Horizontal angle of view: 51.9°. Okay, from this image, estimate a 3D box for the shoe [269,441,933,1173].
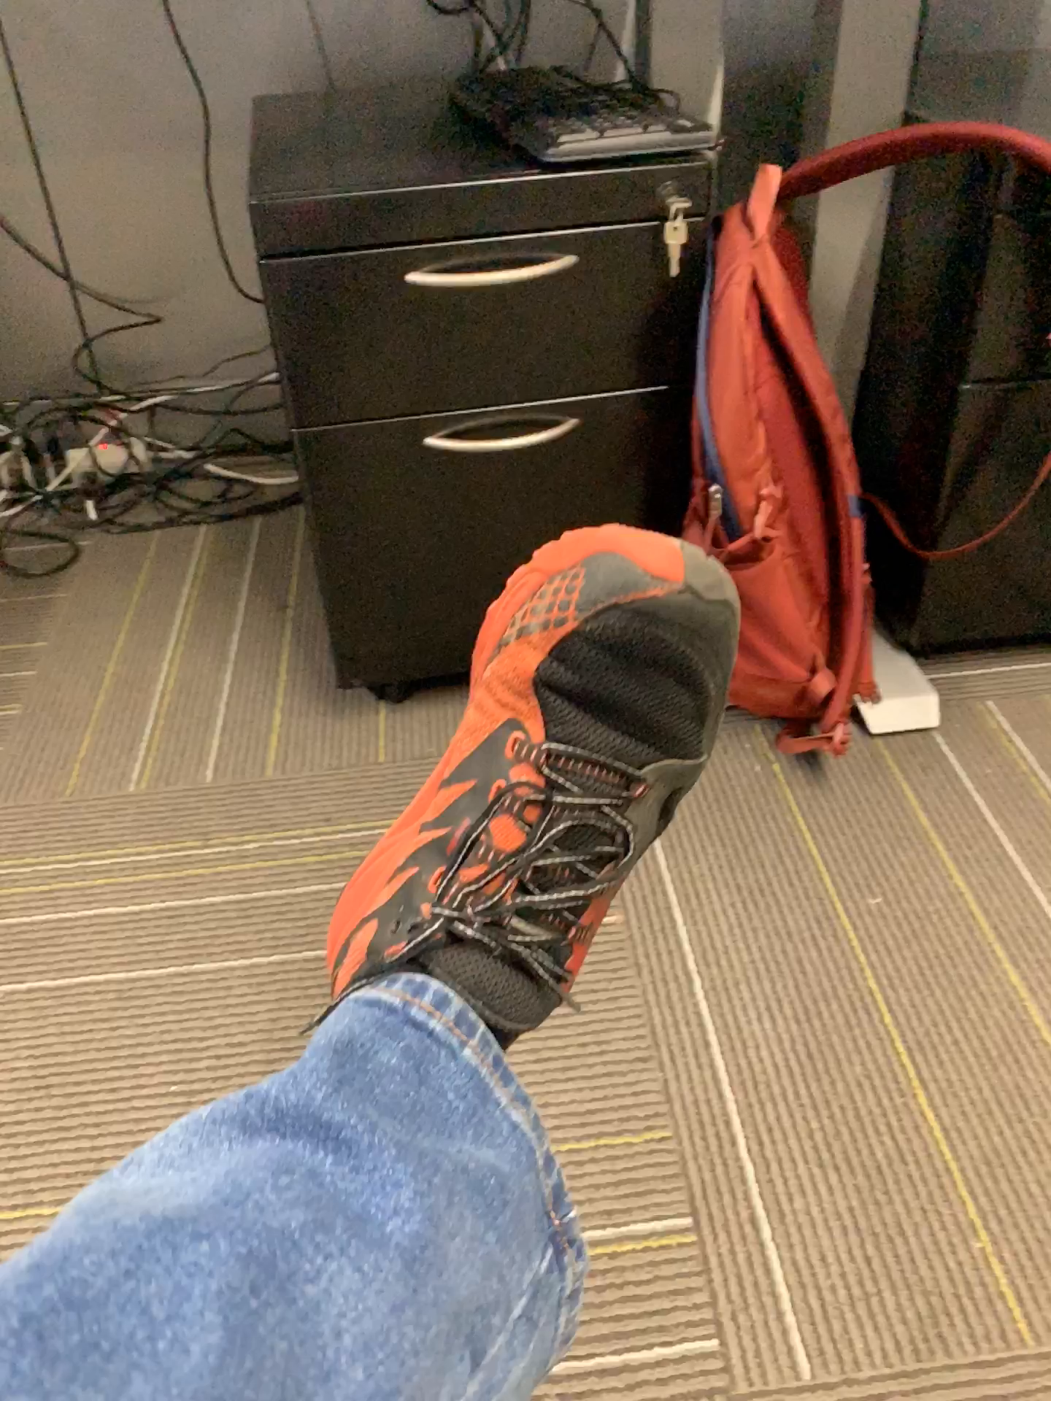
[{"bbox_3d":[0.003,0.065,0.484,0.118,0.303,0.143,20,34,-28],"label":"shoe"}]

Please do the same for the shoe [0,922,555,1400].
[{"bbox_3d":[-0.139,0.293,0.608,0.129,0.135,0.289,33,90,37],"label":"shoe"}]
